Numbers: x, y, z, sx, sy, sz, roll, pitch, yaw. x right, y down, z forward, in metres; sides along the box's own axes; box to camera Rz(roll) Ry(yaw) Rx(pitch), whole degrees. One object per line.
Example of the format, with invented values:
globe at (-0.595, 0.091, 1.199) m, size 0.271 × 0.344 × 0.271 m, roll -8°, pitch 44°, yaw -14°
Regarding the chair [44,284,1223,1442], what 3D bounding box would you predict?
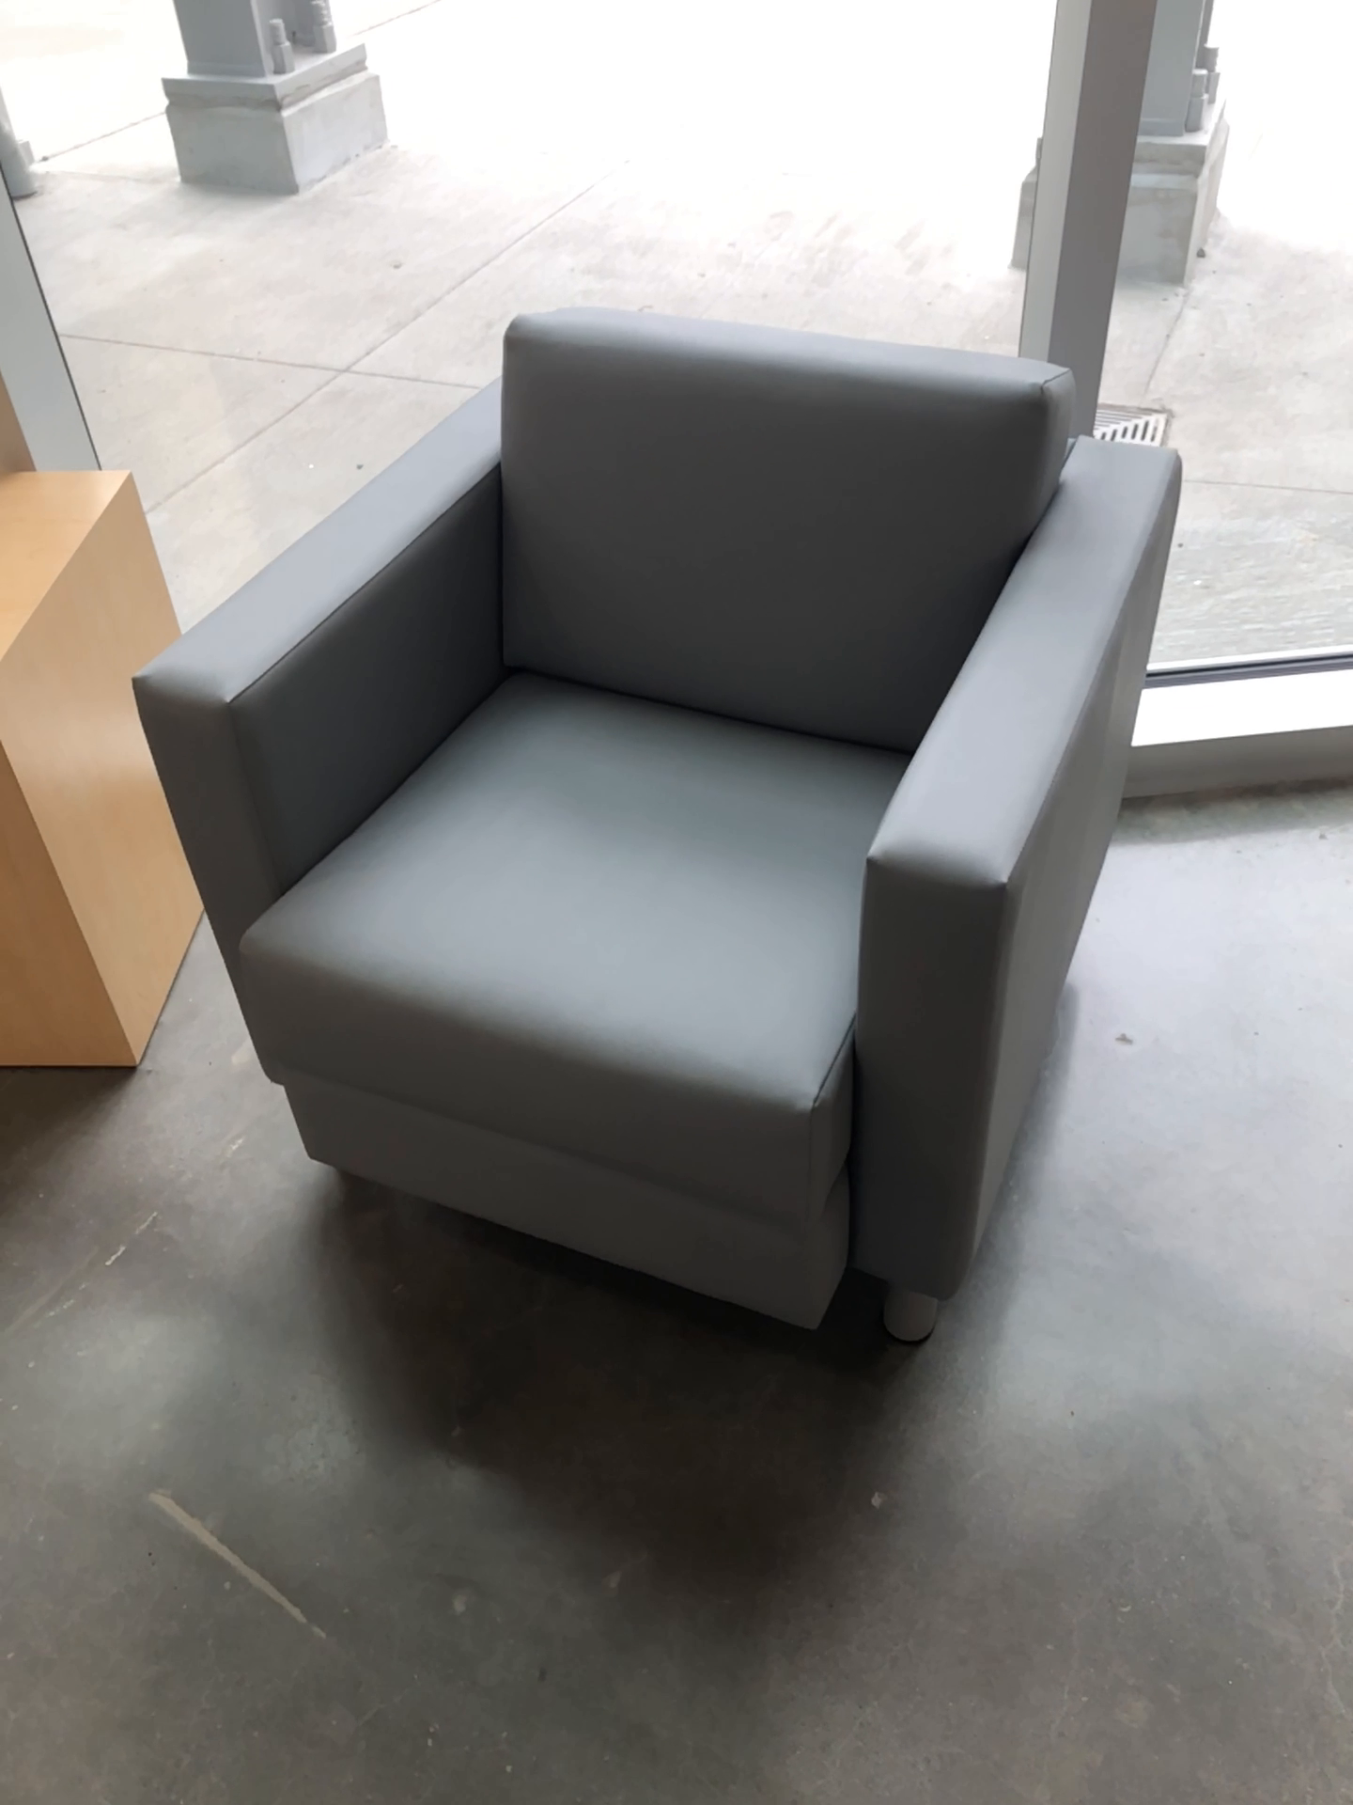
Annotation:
chair at (0.034, -0.100, 1.512) m, size 0.771 × 0.695 × 0.784 m, roll 14°, pitch 45°, yaw 18°
